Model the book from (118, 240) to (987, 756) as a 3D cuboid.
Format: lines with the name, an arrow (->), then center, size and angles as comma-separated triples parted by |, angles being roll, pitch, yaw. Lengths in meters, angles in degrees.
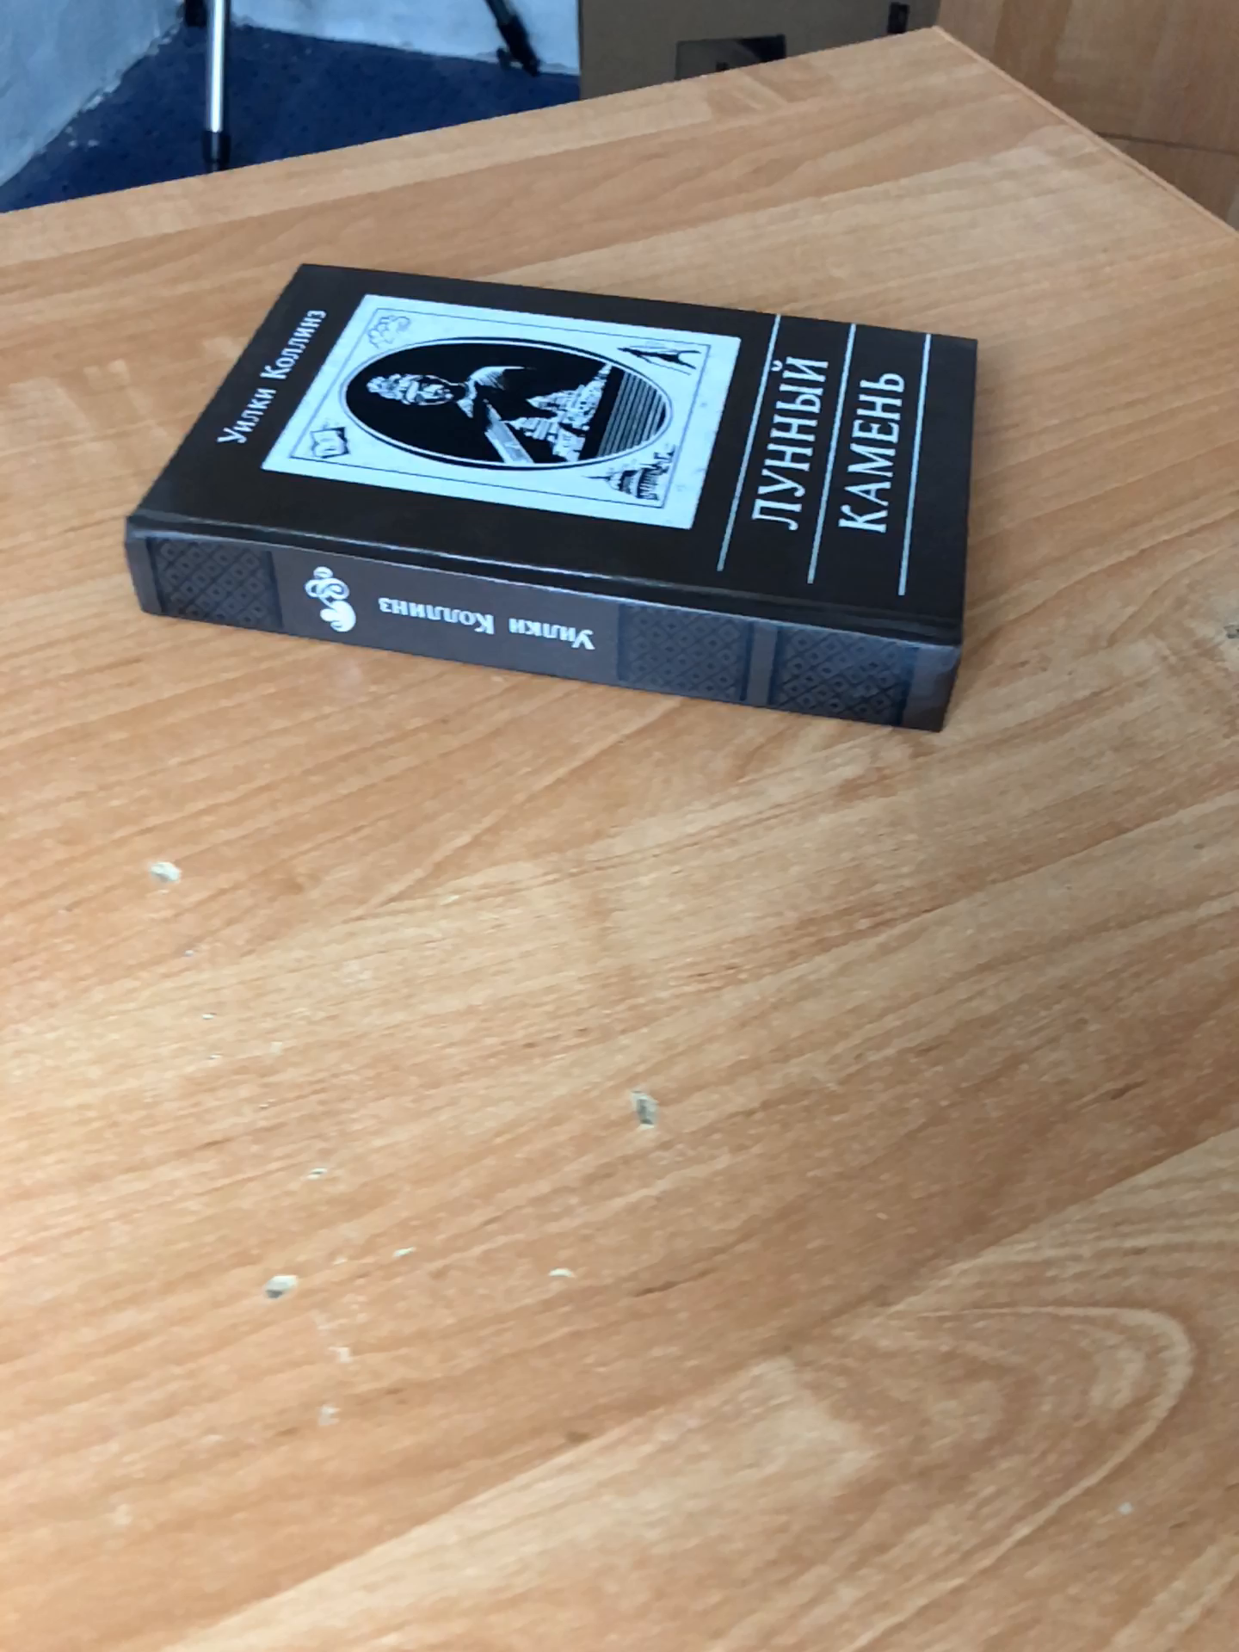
book -> -0.007, -0.093, 0.362 | 0.199, 0.032, 0.134 | 9, 52, 4
